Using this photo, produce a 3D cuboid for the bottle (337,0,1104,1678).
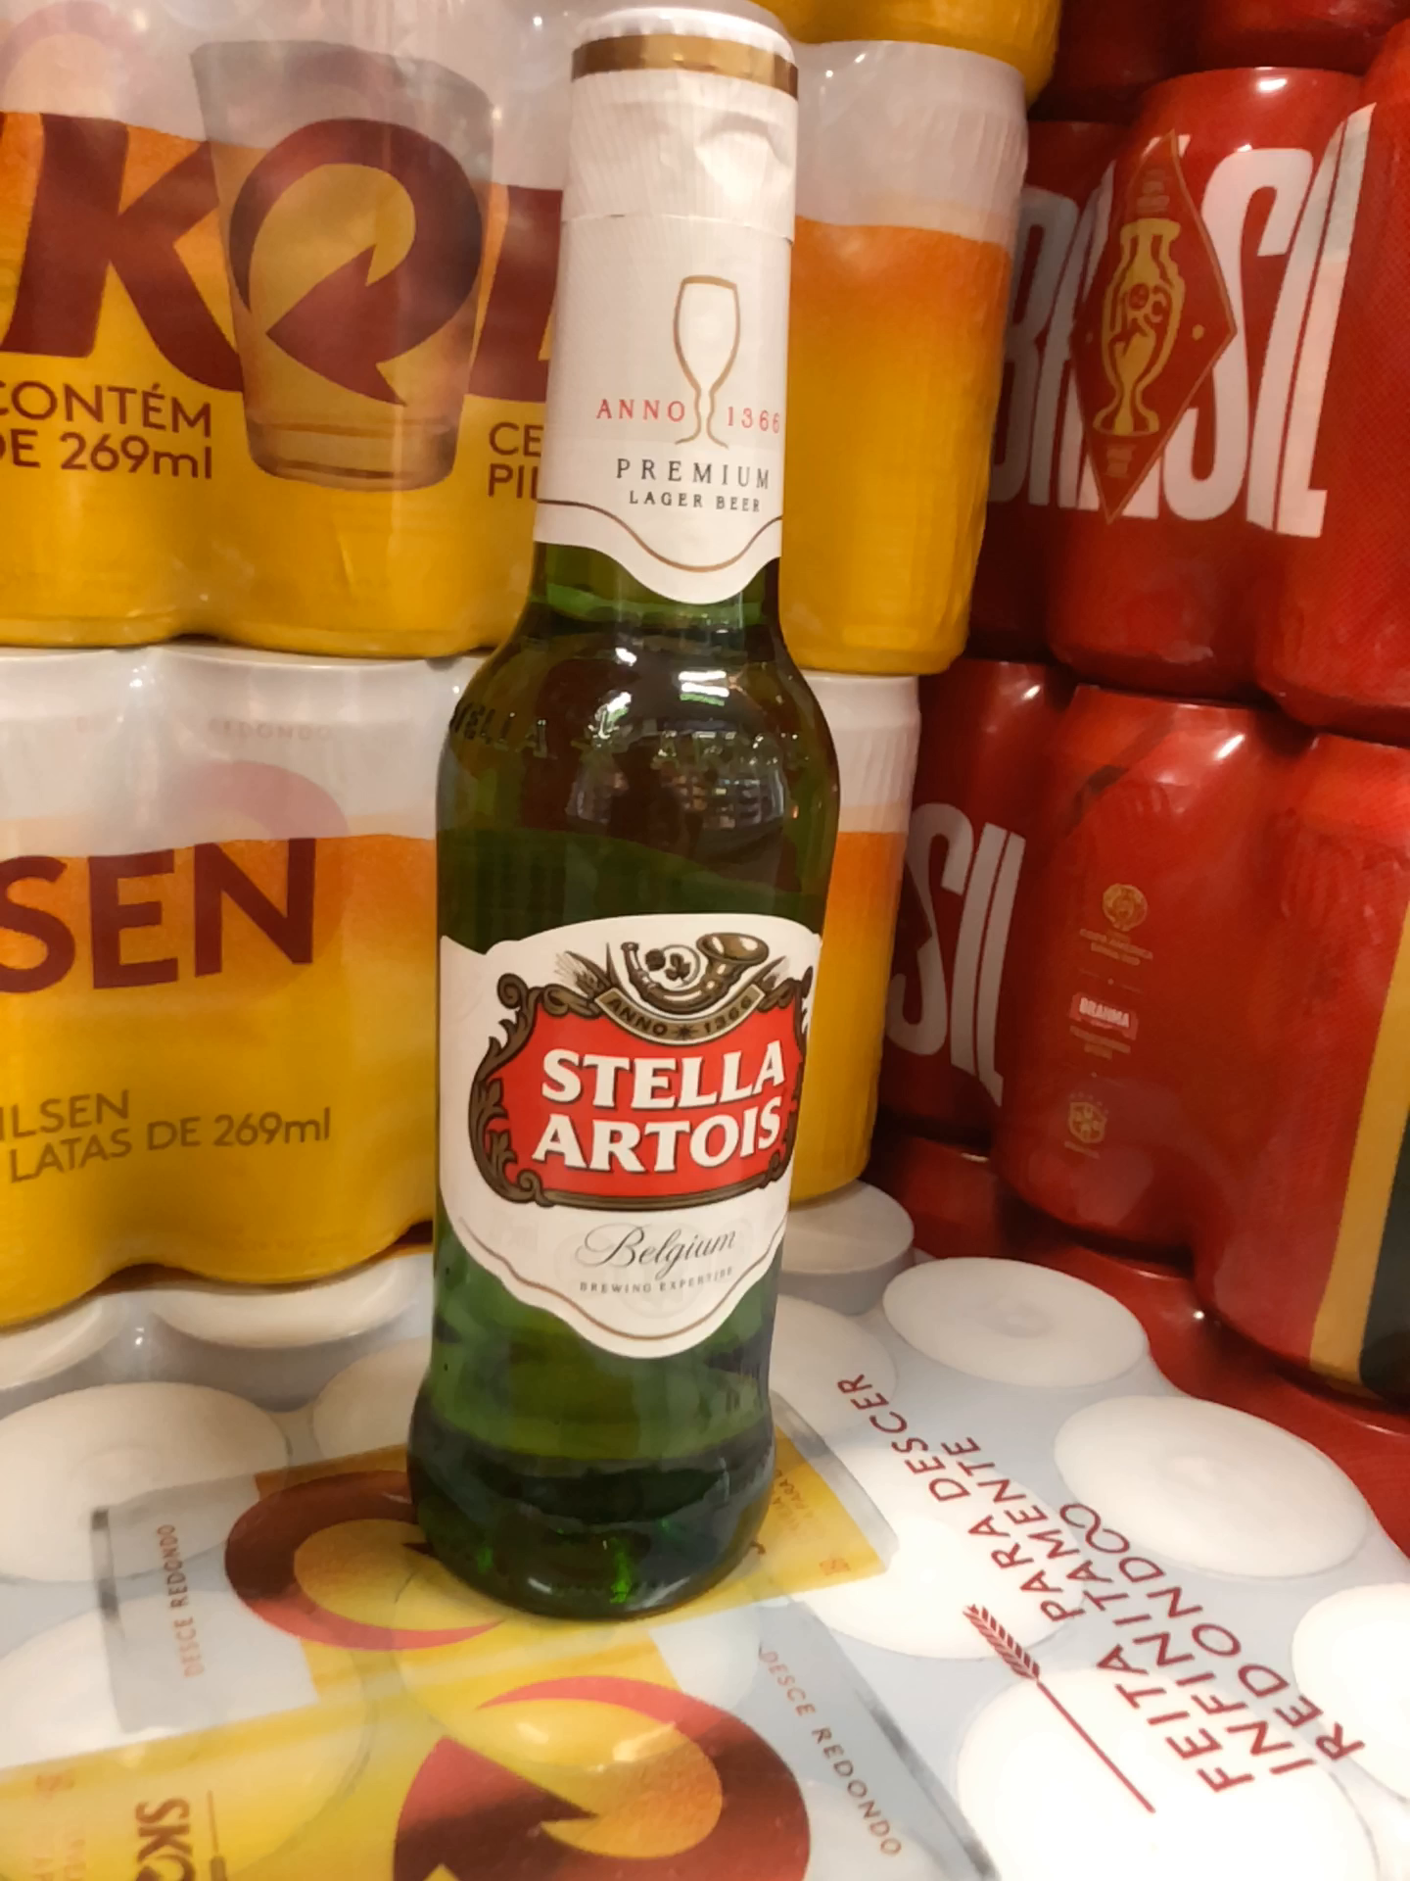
[{"bbox_3d":[-0.008,-0.015,0.223,0.070,0.219,0.060,-3,19,-26],"label":"bottle"}]
